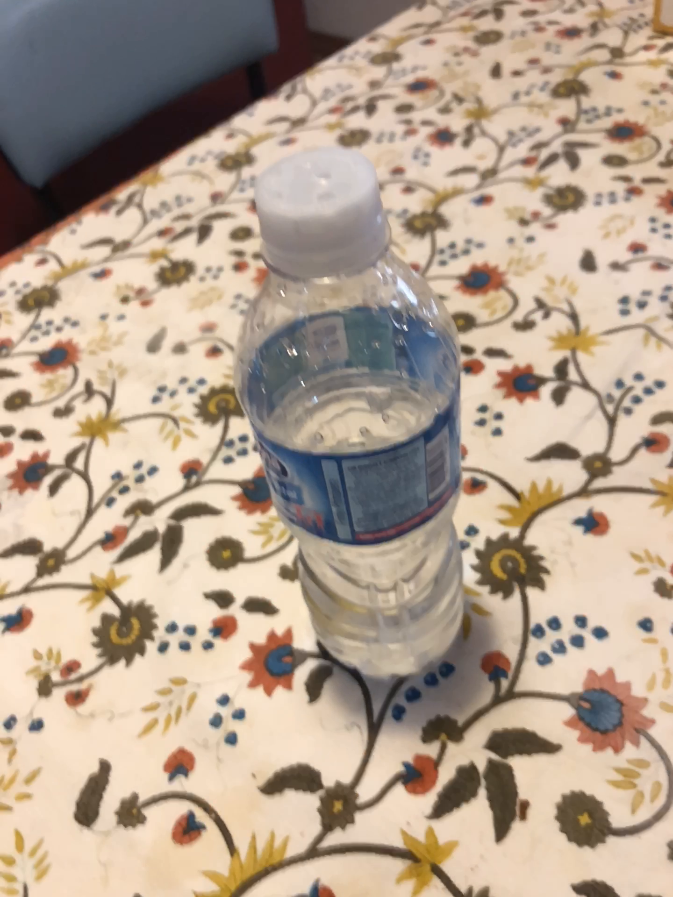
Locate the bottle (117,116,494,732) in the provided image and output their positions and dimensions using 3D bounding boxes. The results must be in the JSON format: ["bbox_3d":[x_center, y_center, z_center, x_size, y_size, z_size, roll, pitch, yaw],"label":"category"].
[{"bbox_3d":[0.003,0.013,0.229,0.070,0.189,0.060,-14,49,-1],"label":"bottle"}]
